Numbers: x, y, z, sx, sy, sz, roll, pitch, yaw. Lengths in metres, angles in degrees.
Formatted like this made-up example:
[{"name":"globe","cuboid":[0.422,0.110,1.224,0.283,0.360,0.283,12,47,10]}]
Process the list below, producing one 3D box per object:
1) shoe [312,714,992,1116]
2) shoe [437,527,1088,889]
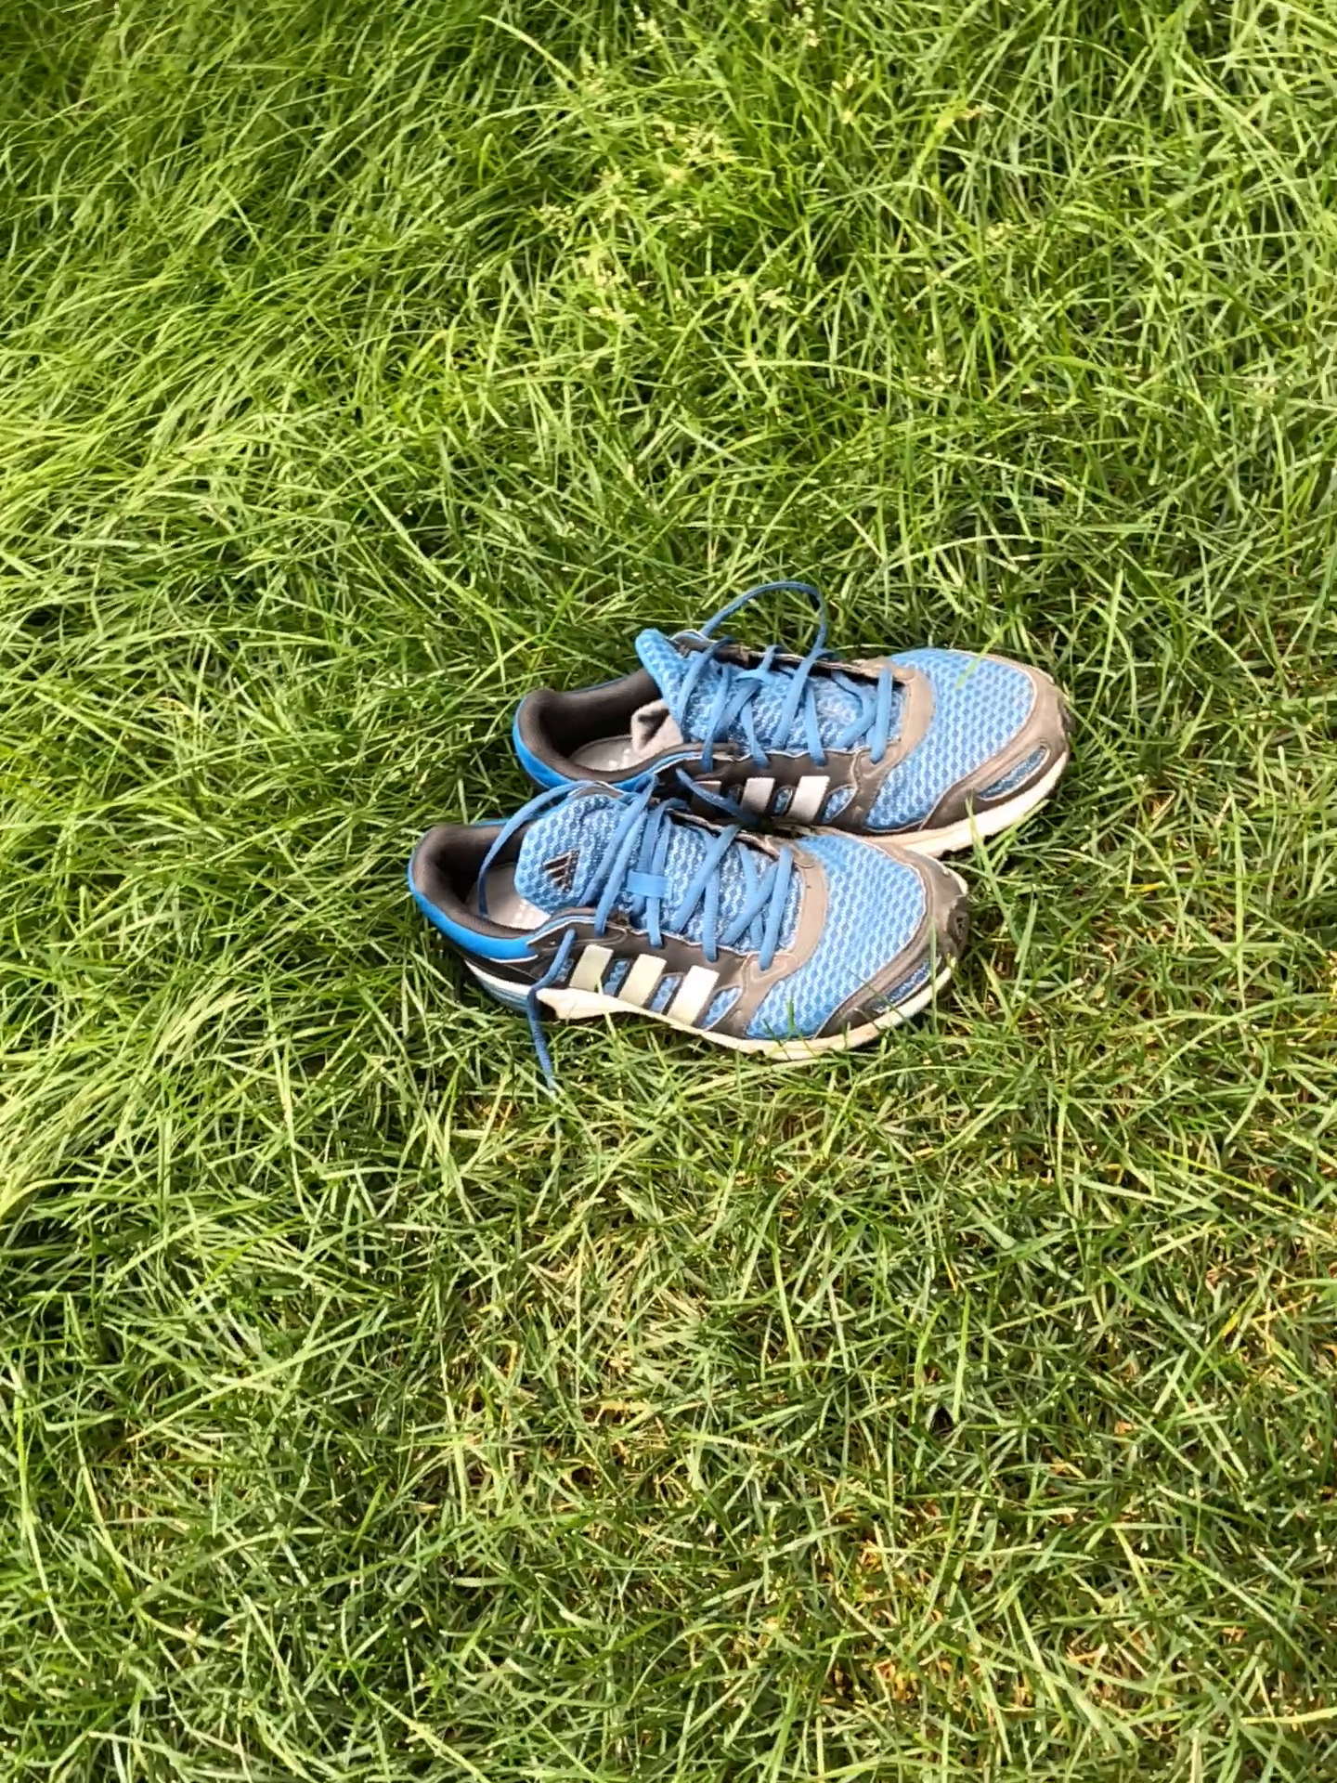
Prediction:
[{"name":"shoe","cuboid":[-0.001,0.010,0.676,0.270,0.120,0.120,7,71,19]},{"name":"shoe","cuboid":[0.052,-0.084,0.705,0.280,0.120,0.120,2,70,17]}]
